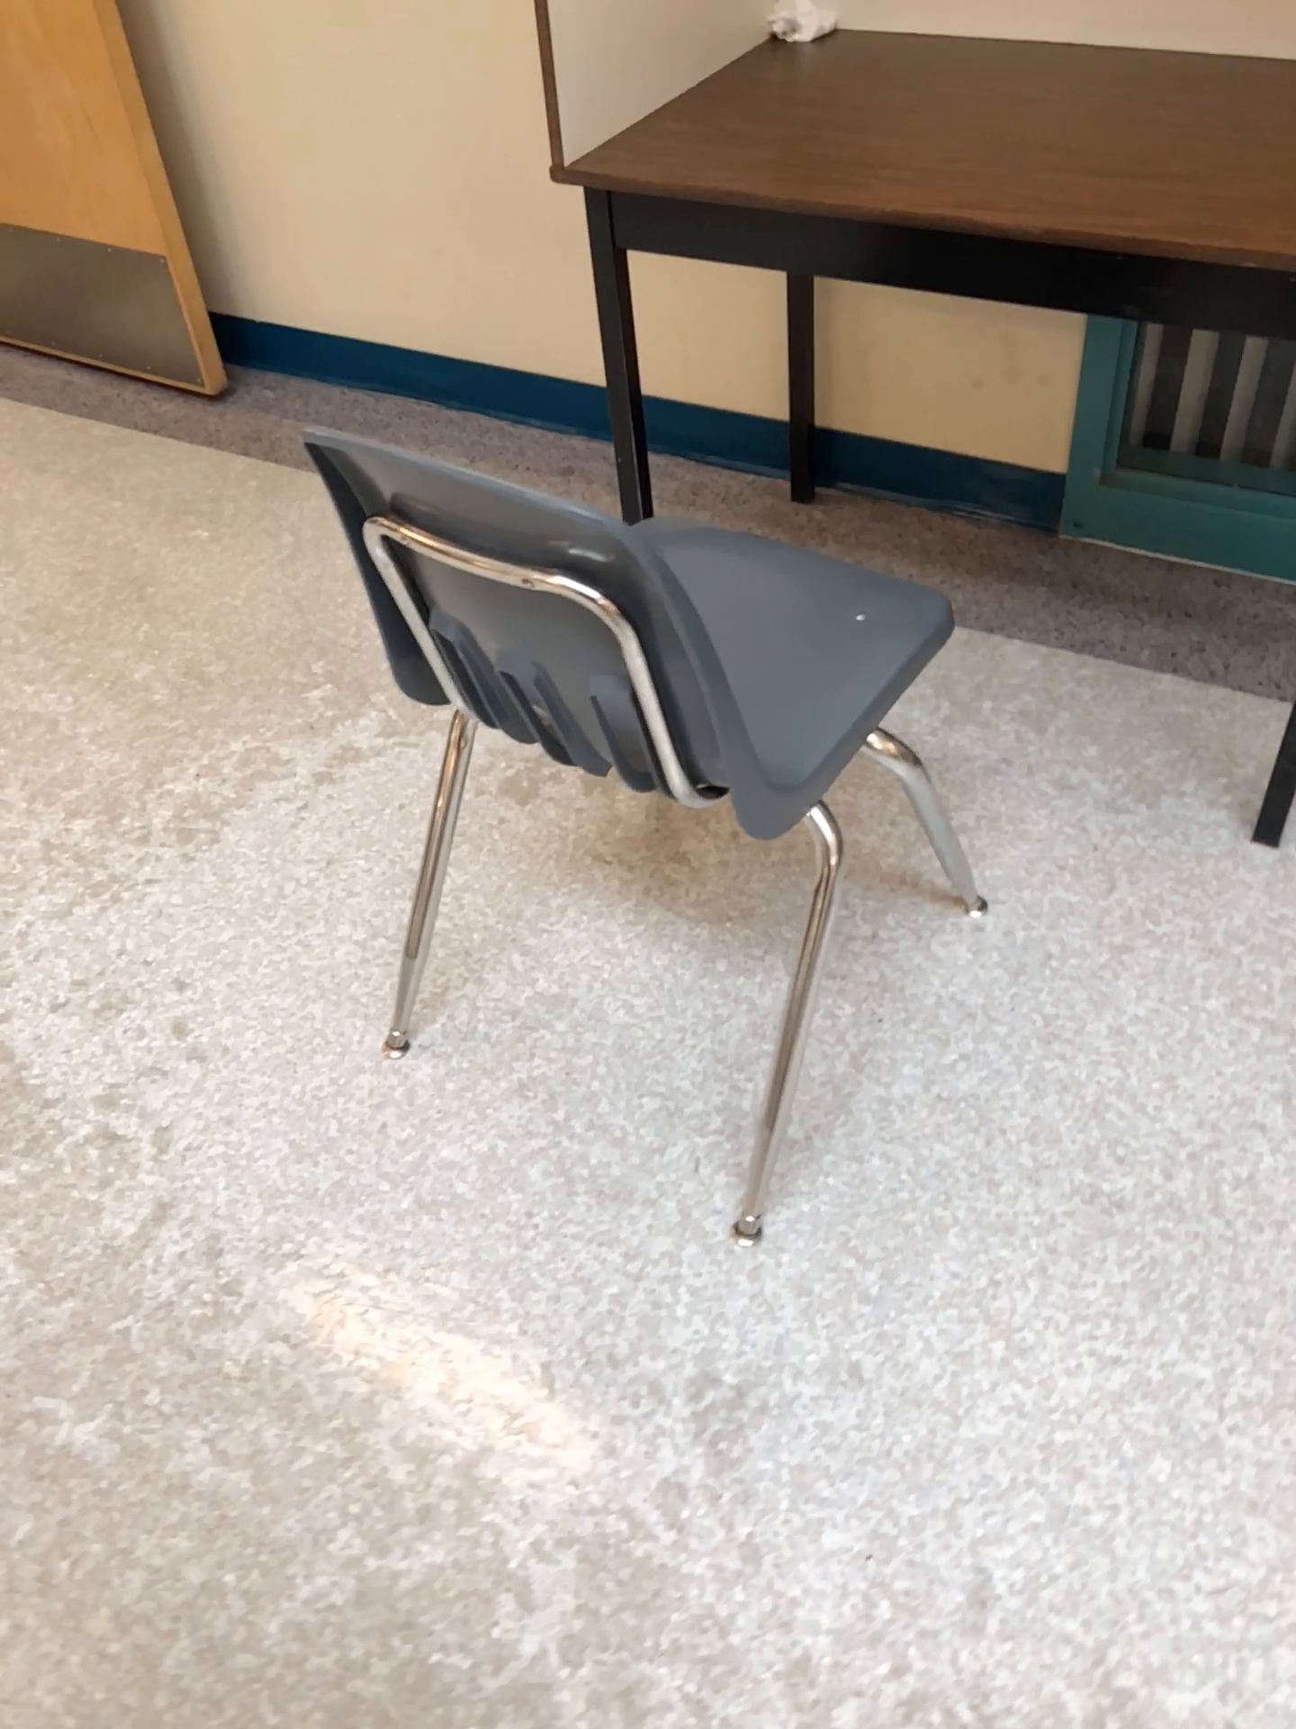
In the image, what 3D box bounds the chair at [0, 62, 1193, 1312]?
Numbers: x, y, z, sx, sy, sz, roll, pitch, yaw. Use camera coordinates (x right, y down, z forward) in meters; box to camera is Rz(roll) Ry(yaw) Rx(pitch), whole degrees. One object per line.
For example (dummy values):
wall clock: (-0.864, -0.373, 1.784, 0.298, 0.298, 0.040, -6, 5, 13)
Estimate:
chair: (-0.006, -0.181, 1.204, 0.592, 0.695, 0.612, 23, 51, 28)
